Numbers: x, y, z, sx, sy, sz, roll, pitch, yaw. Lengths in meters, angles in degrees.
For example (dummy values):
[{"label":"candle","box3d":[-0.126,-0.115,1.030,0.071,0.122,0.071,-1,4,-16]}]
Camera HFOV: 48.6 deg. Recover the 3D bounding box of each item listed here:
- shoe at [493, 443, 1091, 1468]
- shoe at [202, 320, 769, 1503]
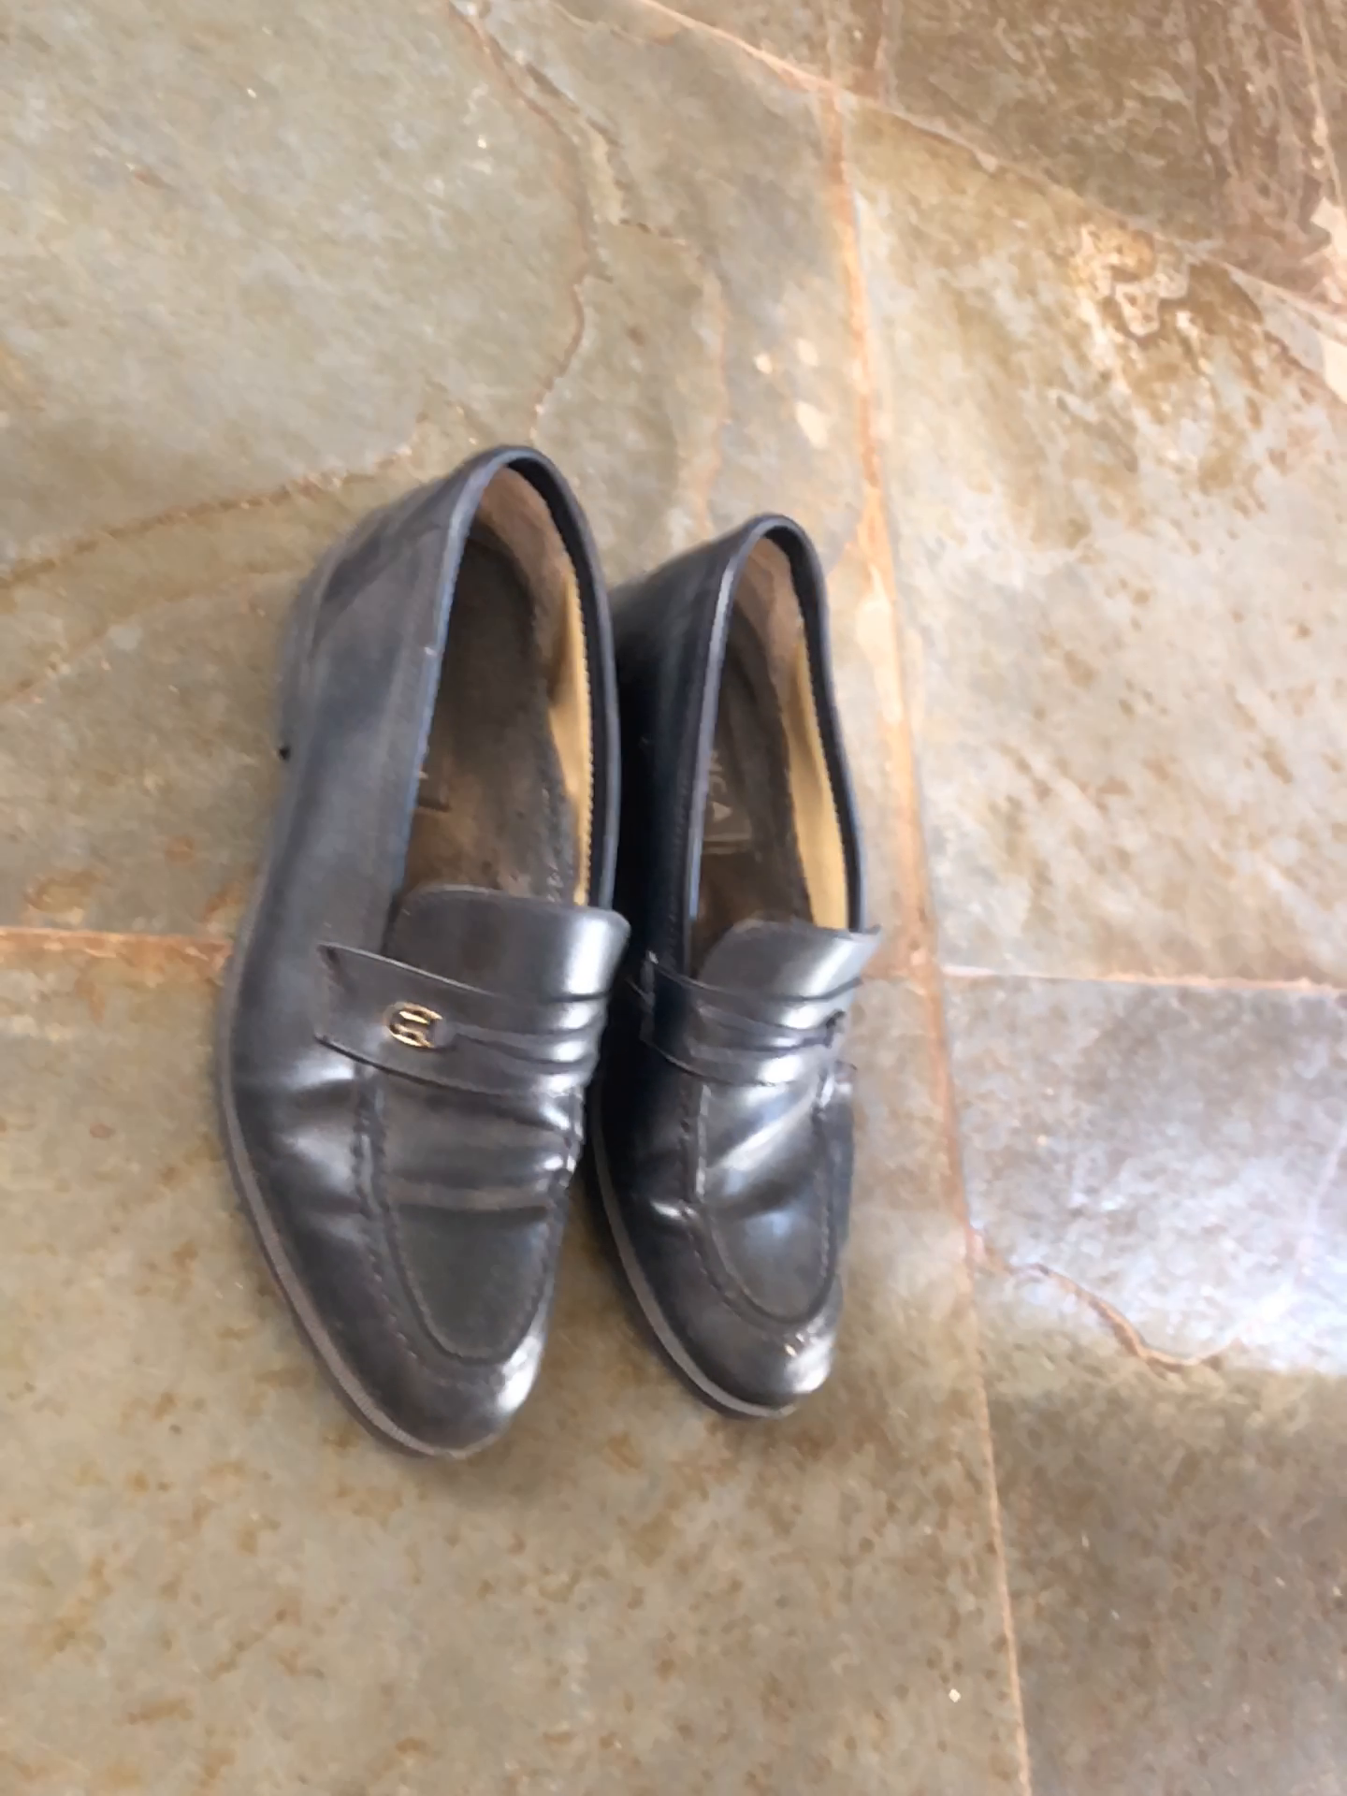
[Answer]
[{"label":"shoe","box3d":[0.027,0.017,0.439,0.100,0.099,0.260,1,76,-34]},{"label":"shoe","box3d":[-0.056,0.006,0.386,0.100,0.099,0.260,5,73,-33]}]
